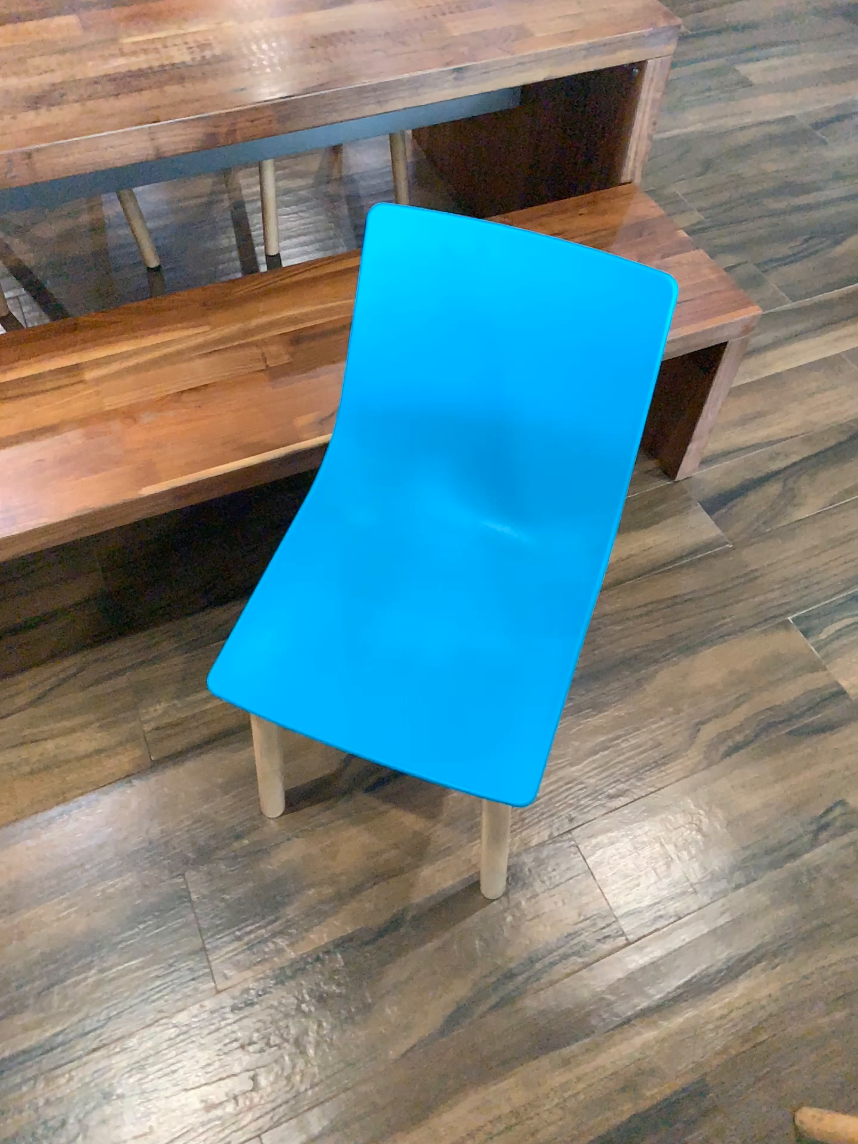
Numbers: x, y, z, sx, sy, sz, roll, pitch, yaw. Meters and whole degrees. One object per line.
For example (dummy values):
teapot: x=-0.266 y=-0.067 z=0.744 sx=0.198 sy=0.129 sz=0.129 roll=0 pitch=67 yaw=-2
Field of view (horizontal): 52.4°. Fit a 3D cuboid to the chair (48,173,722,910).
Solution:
chair: x=-0.011 y=-0.013 z=1.164 sx=0.510 sy=0.666 sz=0.583 roll=18 pitch=56 yaw=10
